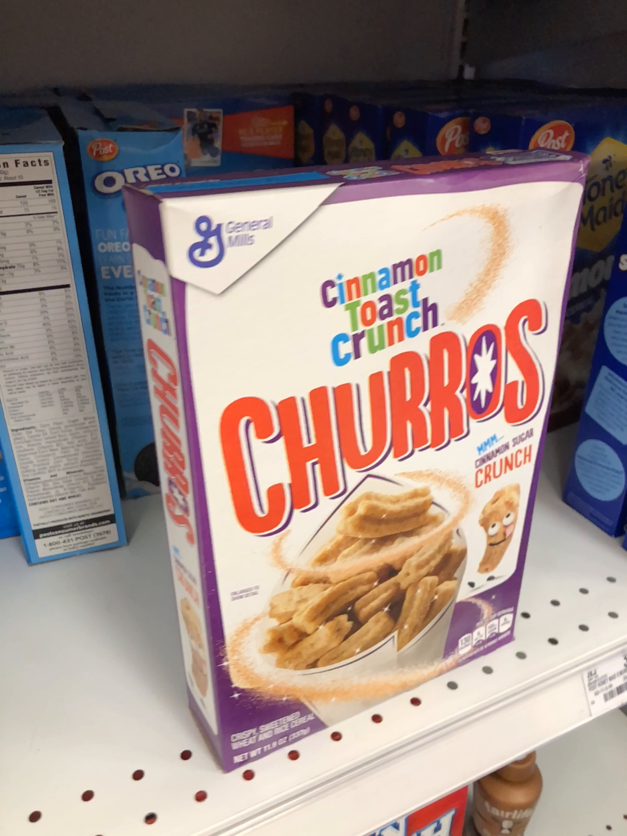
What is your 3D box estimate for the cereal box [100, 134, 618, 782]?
[{"bbox_3d":[0.025,0.021,0.340,0.200,0.279,0.060,-14,31,-24],"label":"cereal box"}]
